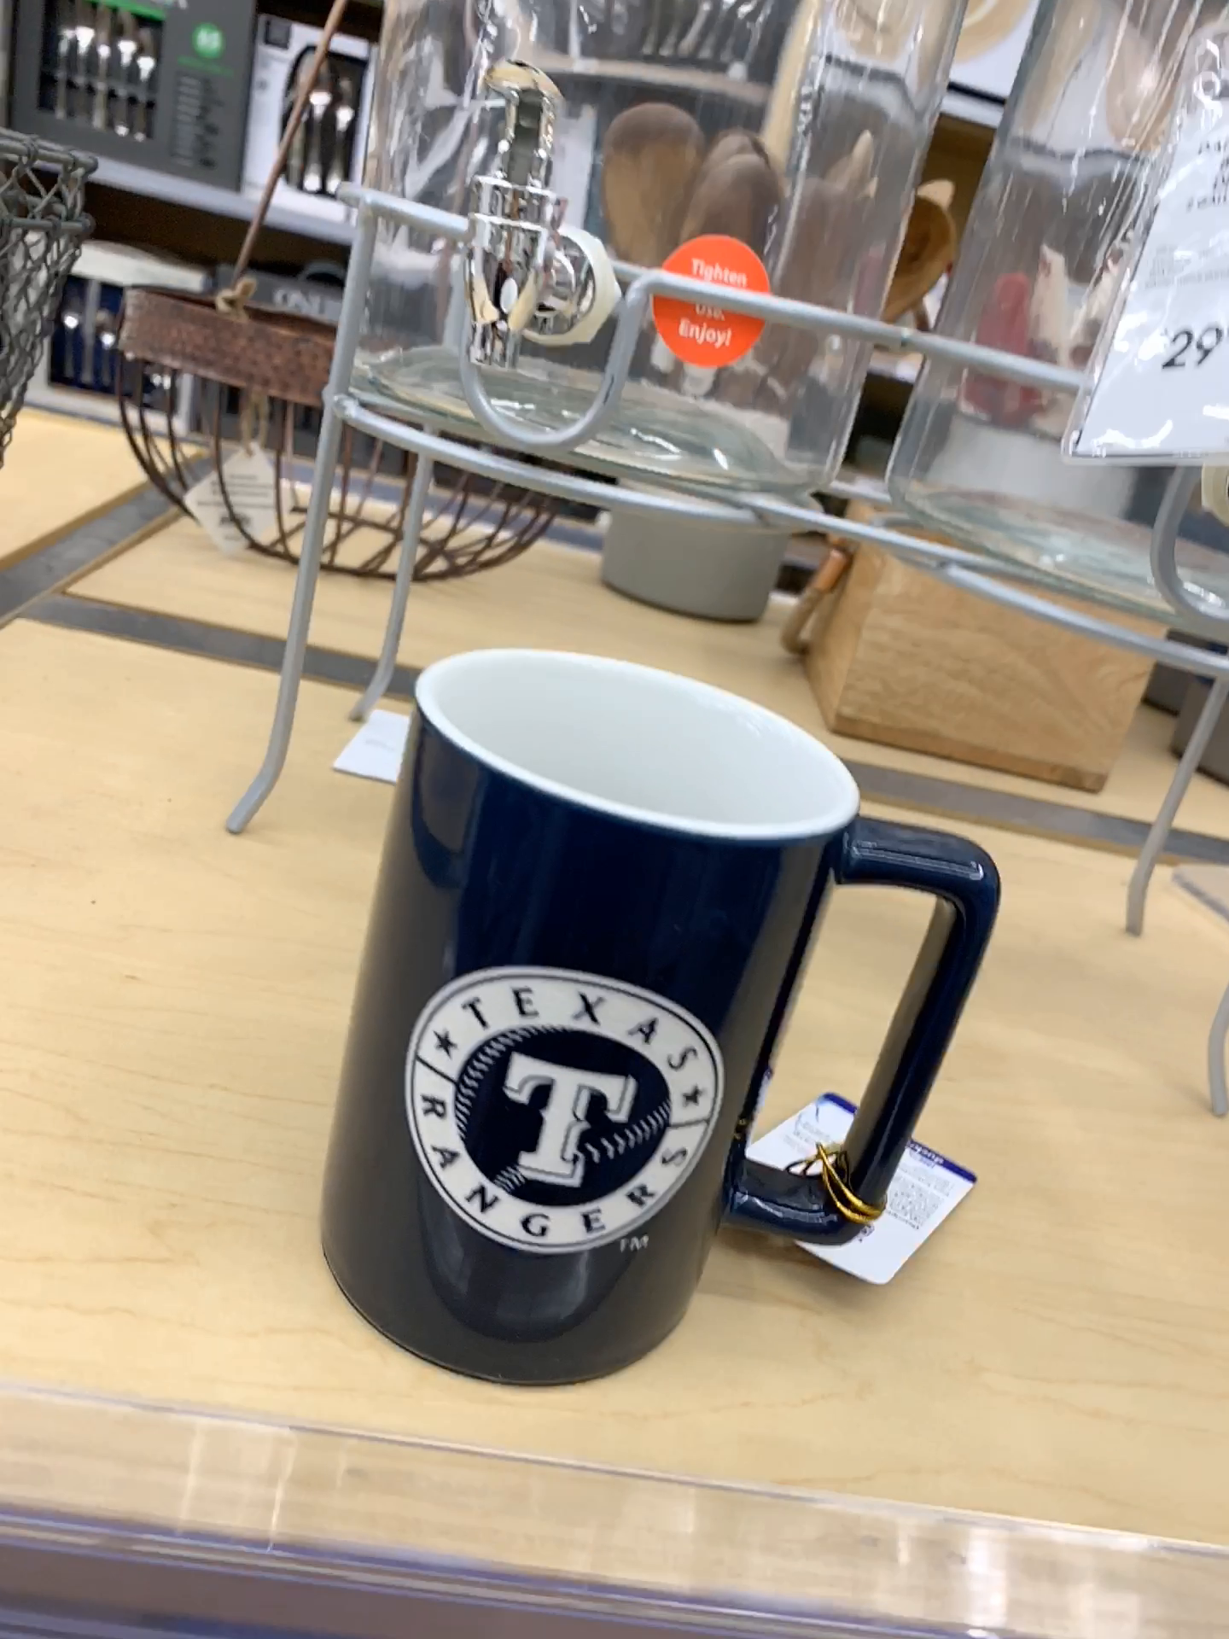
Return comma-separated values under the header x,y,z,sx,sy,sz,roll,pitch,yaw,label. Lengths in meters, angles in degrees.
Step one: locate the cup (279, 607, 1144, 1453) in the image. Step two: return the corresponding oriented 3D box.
x,y,z,sx,sy,sz,roll,pitch,yaw,label
0.010,0.039,0.264,0.123,0.121,0.097,11,22,-7,cup
